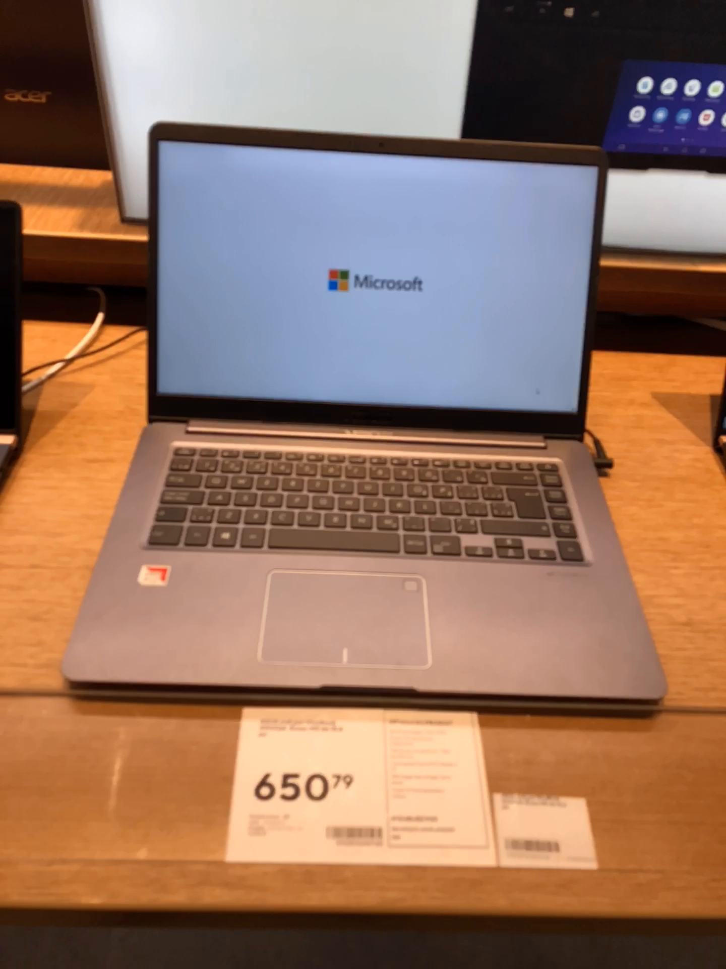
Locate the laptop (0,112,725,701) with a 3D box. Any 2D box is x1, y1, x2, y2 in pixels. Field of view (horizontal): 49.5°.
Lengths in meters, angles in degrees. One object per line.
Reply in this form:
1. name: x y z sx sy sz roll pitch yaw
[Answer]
1. laptop: 0.007 -0.081 0.537 0.352 0.177 0.392 2 43 -3
